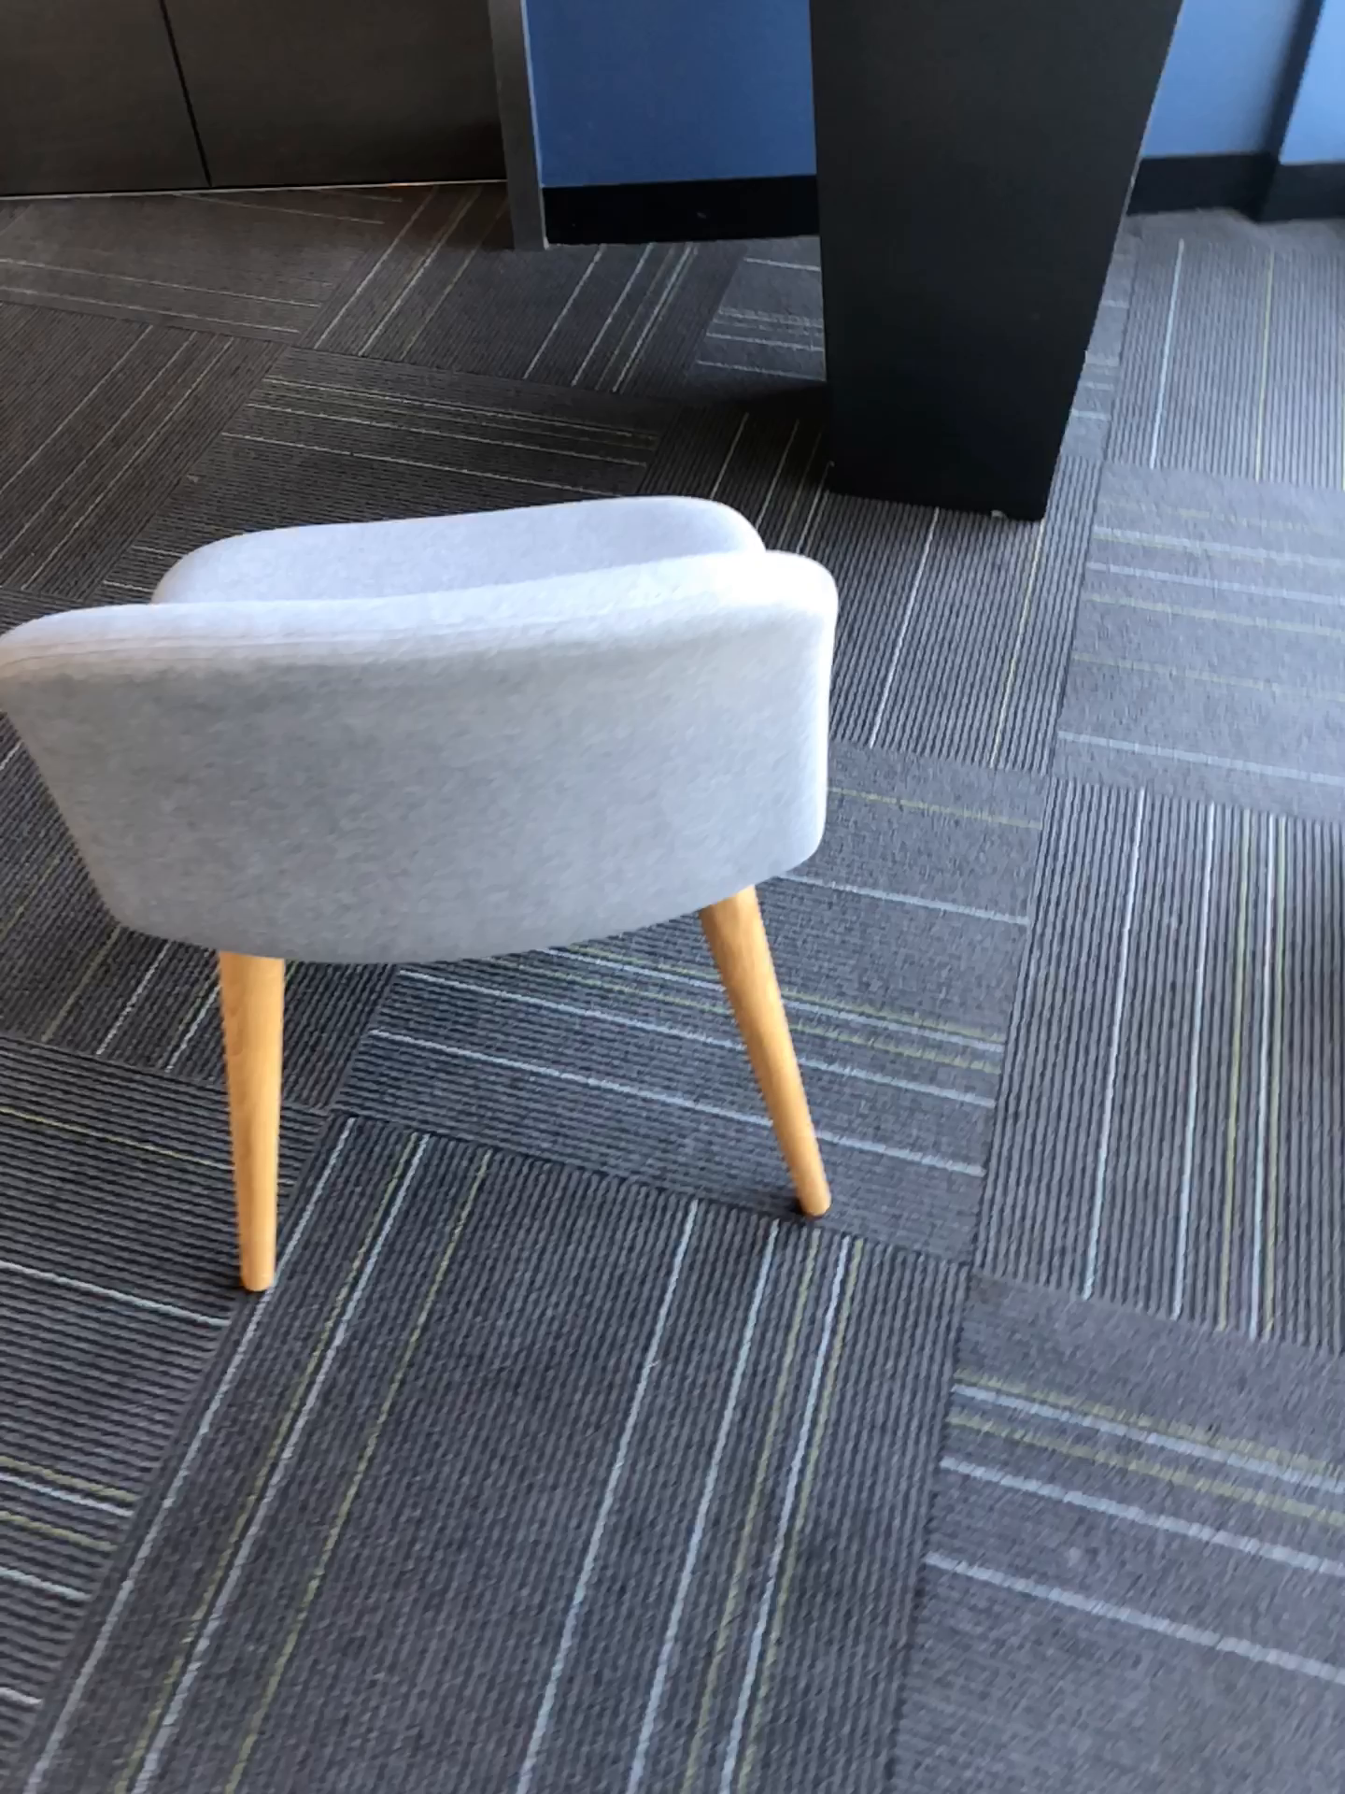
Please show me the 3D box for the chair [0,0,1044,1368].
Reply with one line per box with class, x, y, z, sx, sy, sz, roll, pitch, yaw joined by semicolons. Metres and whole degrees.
chair;-0.159;-0.131;1.076;0.560;0.847;0.612;-5;54;-2
